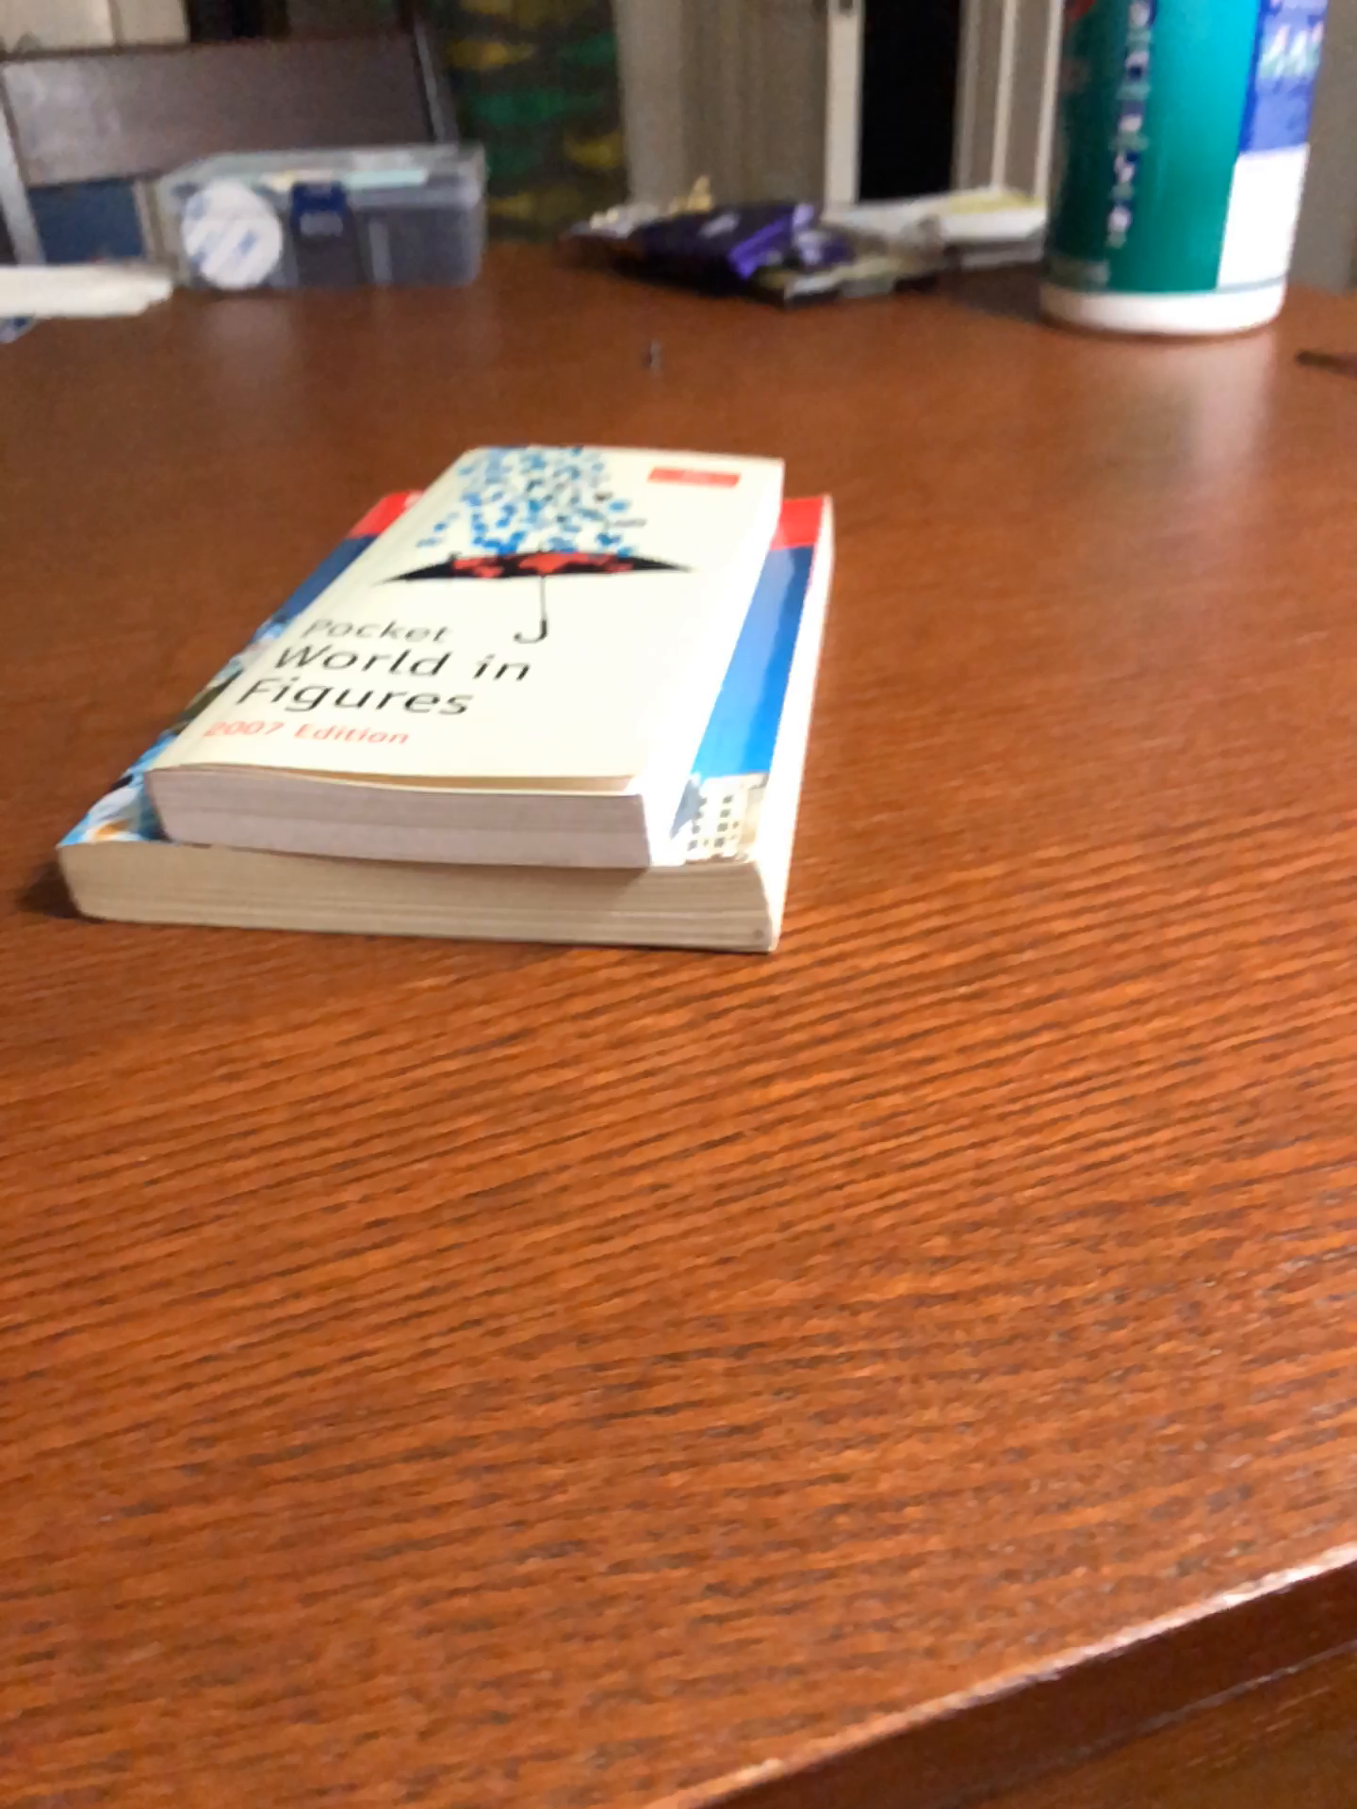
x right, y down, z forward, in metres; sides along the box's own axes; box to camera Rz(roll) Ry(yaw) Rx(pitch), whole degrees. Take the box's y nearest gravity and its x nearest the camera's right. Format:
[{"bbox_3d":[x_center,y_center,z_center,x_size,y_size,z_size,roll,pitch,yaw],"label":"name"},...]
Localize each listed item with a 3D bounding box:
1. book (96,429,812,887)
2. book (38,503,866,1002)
[{"bbox_3d":[-0.031,-0.068,0.337,0.100,0.020,0.201,4,33,10],"label":"book"},{"bbox_3d":[-0.031,-0.051,0.356,0.140,0.020,0.211,3,33,8],"label":"book"}]
